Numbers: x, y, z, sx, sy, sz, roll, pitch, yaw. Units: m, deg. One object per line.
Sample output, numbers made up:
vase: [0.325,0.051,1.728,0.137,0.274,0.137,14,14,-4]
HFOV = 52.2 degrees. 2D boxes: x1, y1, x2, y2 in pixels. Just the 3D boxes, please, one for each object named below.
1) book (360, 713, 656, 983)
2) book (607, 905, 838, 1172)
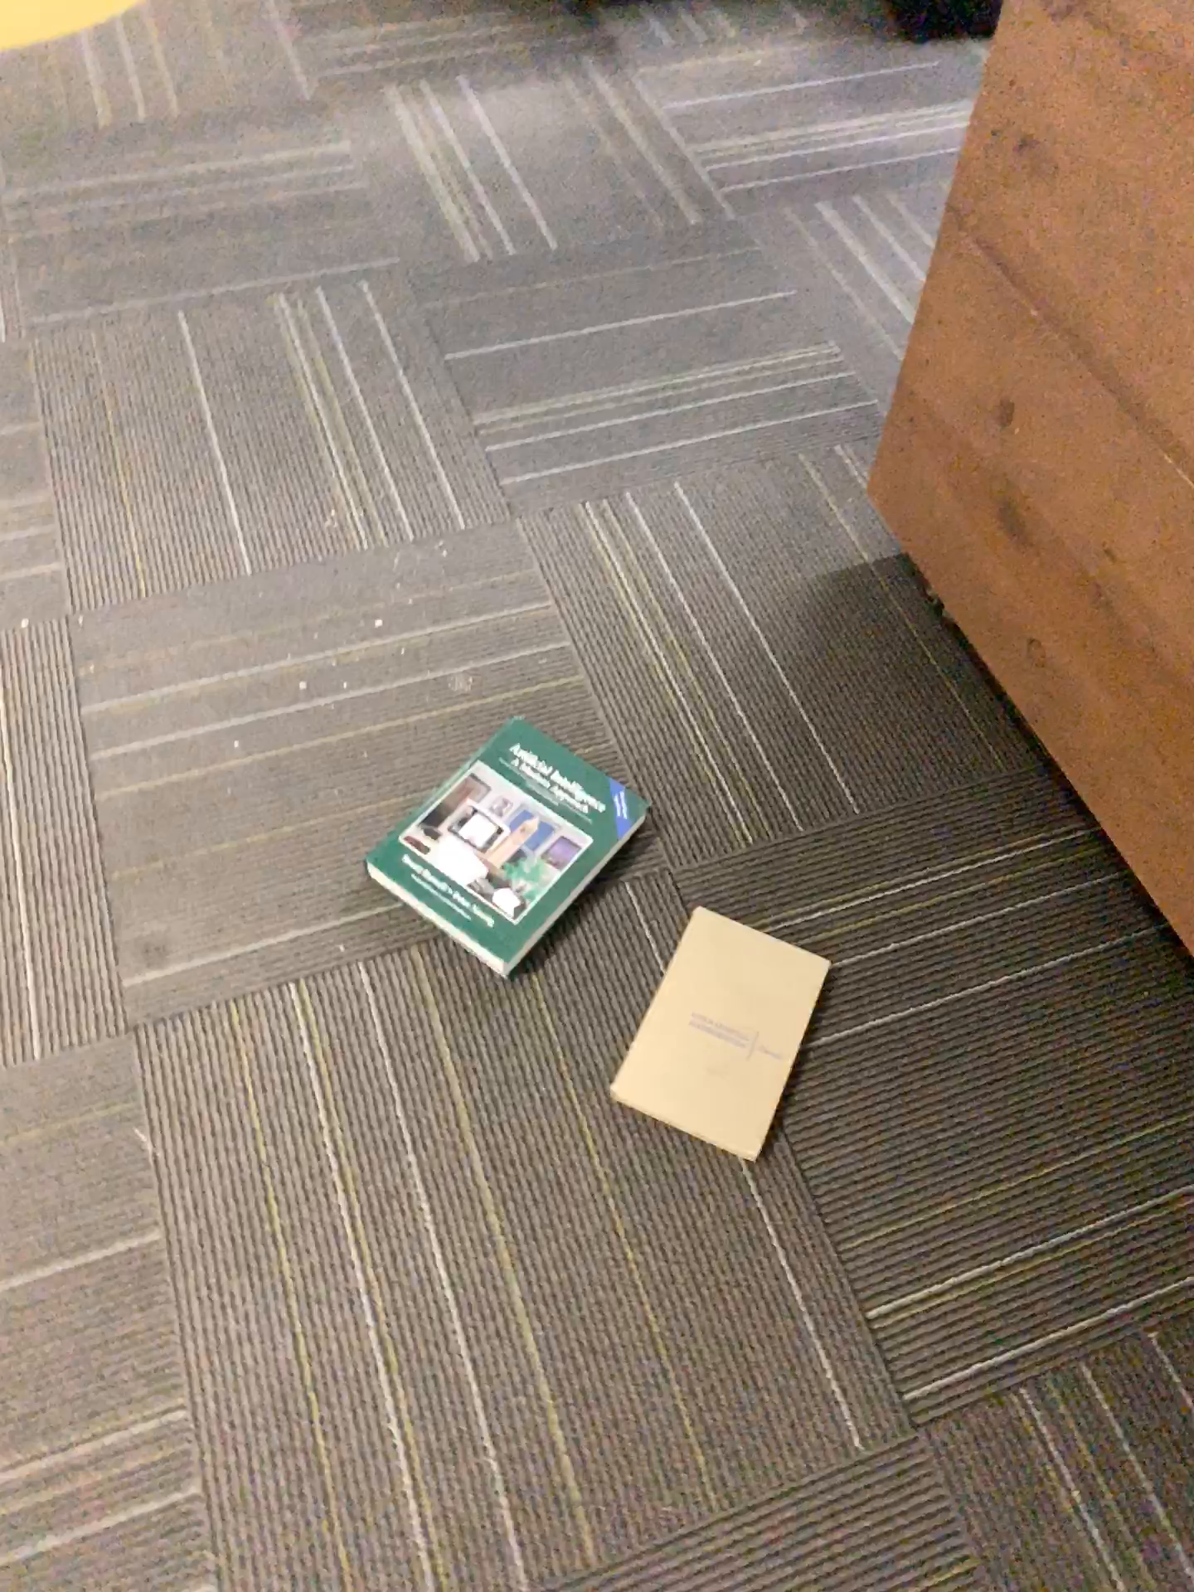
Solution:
book: [-0.096,0.049,1.363,0.210,0.030,0.260,33,61,19]
book: [0.134,0.243,1.264,0.160,0.020,0.241,22,58,13]
